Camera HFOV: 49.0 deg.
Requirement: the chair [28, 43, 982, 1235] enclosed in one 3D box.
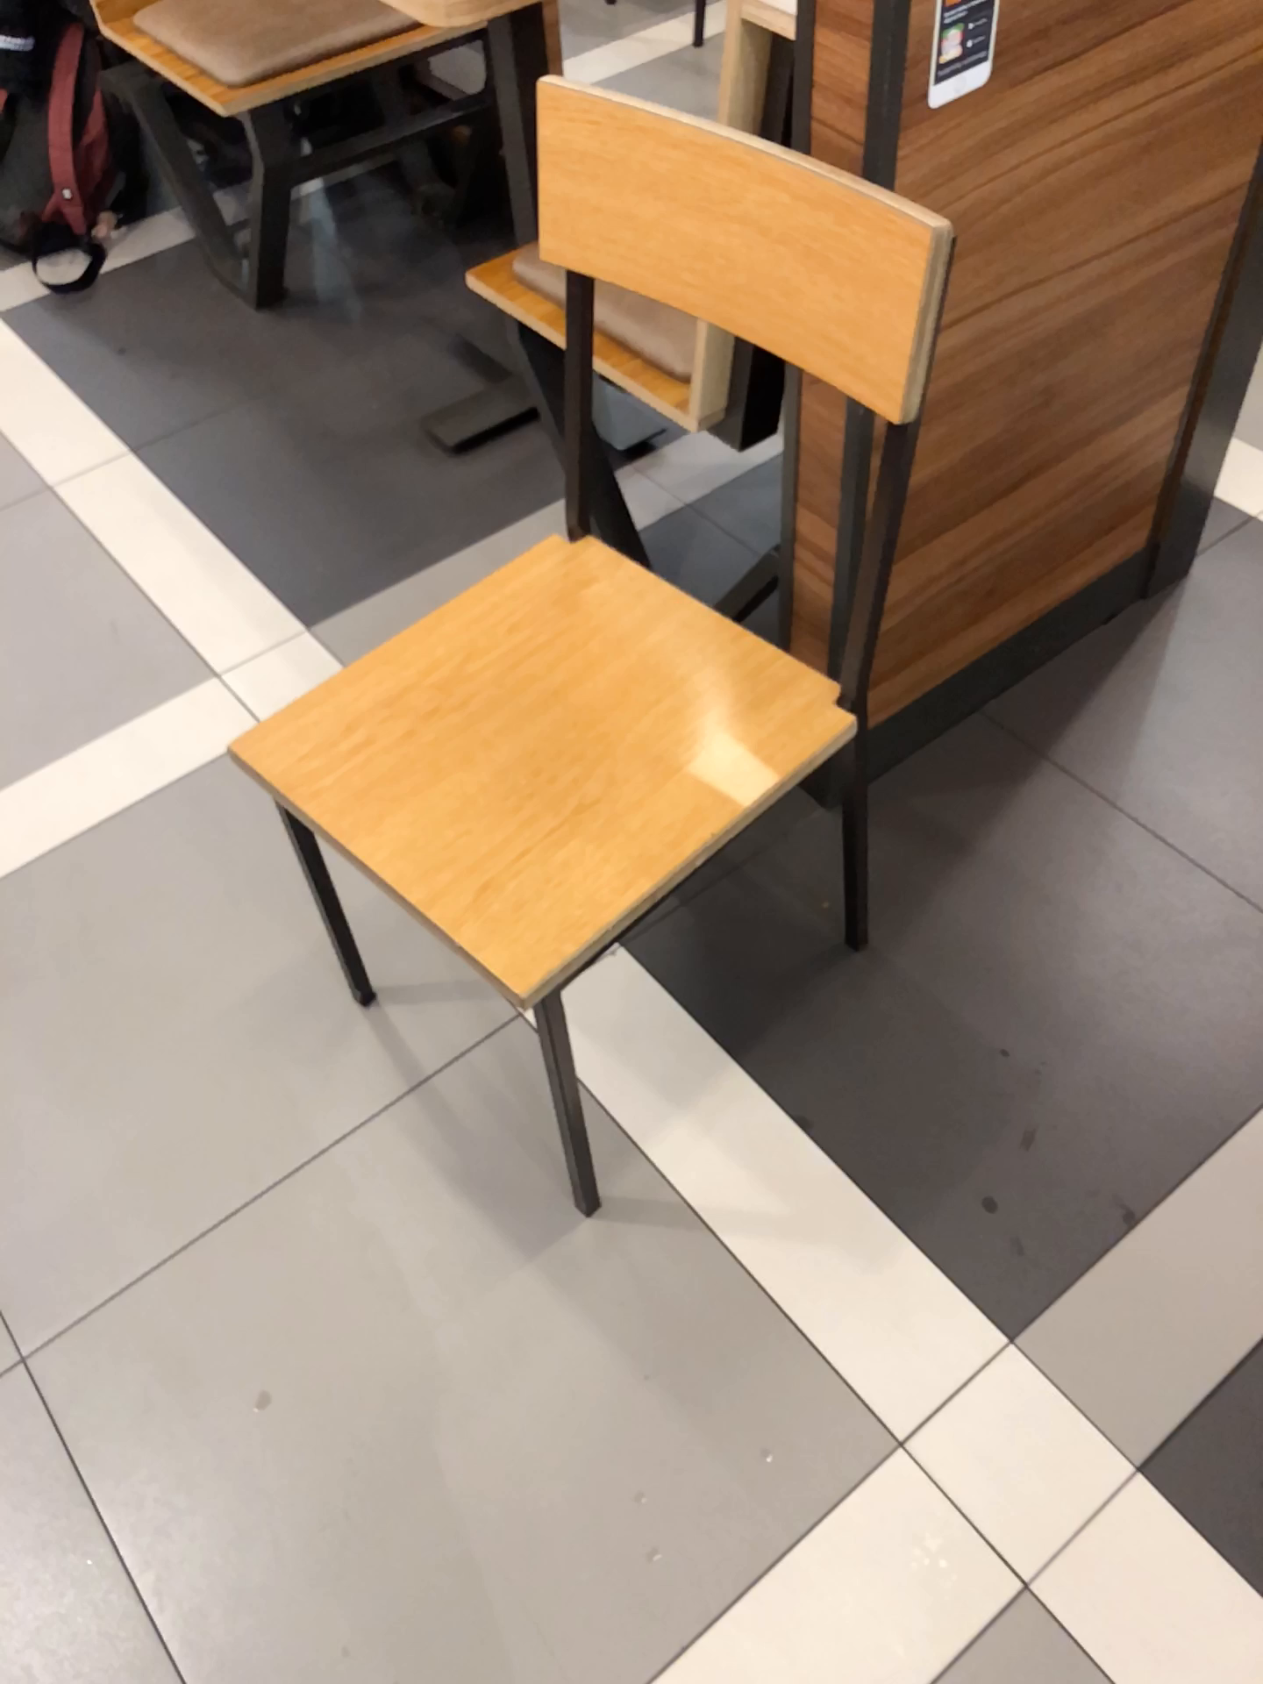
[{"bbox_3d":[-0.059,-0.129,1.235,0.431,0.845,0.461,35,60,28],"label":"chair"}]
